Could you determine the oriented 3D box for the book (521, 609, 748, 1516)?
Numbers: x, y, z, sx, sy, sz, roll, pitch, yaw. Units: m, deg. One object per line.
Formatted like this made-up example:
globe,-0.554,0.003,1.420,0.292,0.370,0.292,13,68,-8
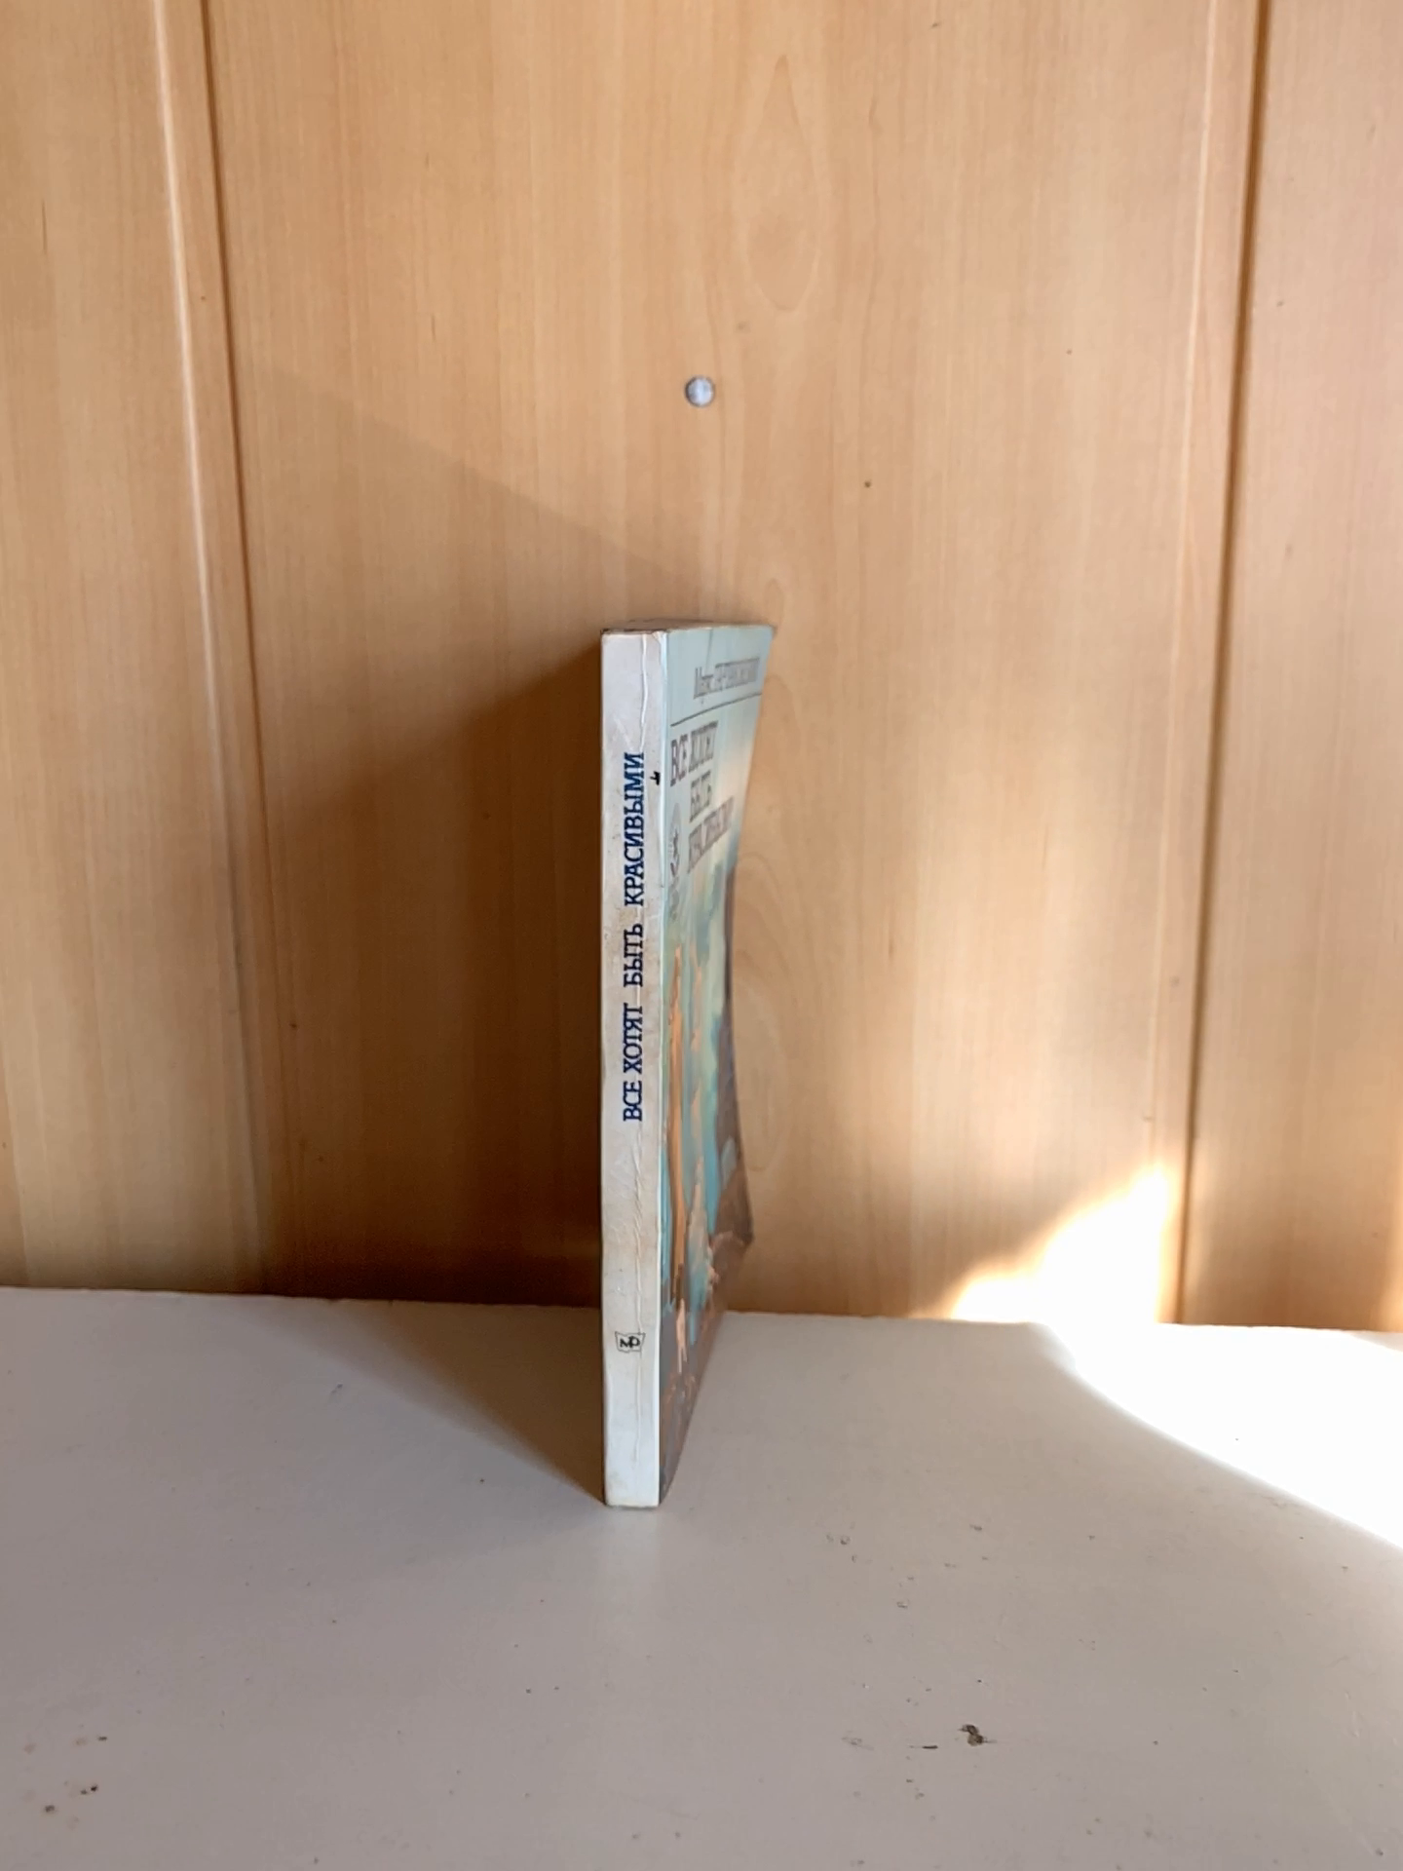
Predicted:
book,-0.009,0.013,0.311,0.029,0.159,0.125,1,12,5
